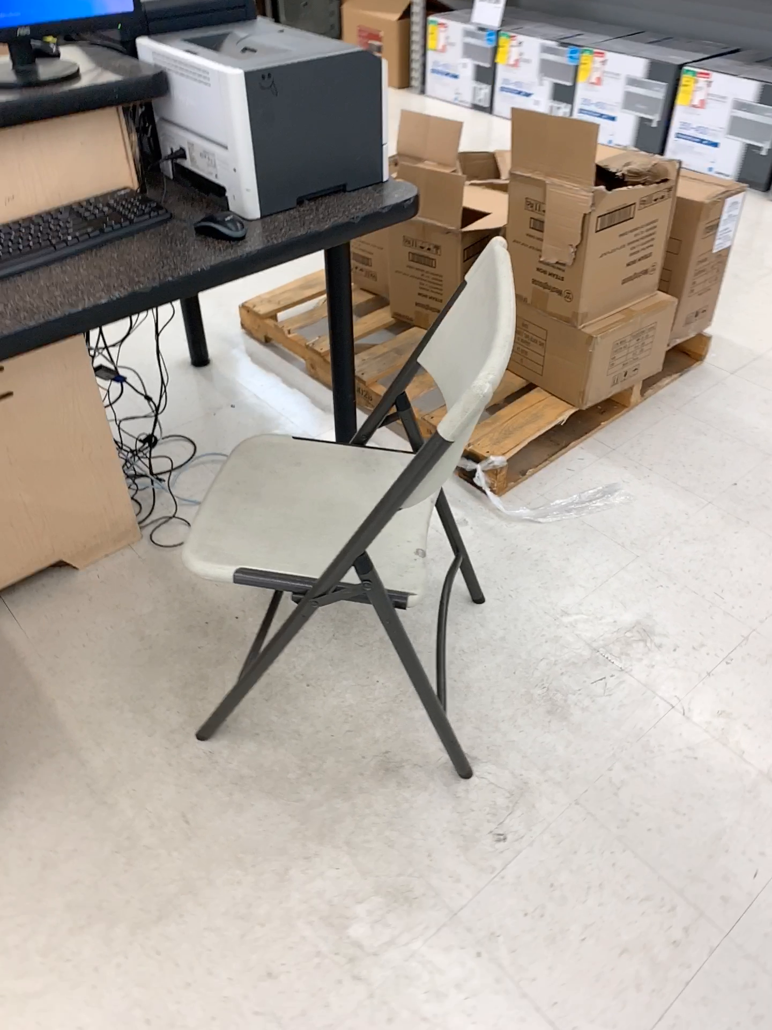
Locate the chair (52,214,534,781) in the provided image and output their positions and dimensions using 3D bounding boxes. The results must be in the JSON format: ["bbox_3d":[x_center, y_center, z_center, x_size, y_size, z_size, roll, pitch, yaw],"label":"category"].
[{"bbox_3d":[-0.077,-0.025,1.340,0.560,0.746,0.533,5,41,6],"label":"chair"}]
